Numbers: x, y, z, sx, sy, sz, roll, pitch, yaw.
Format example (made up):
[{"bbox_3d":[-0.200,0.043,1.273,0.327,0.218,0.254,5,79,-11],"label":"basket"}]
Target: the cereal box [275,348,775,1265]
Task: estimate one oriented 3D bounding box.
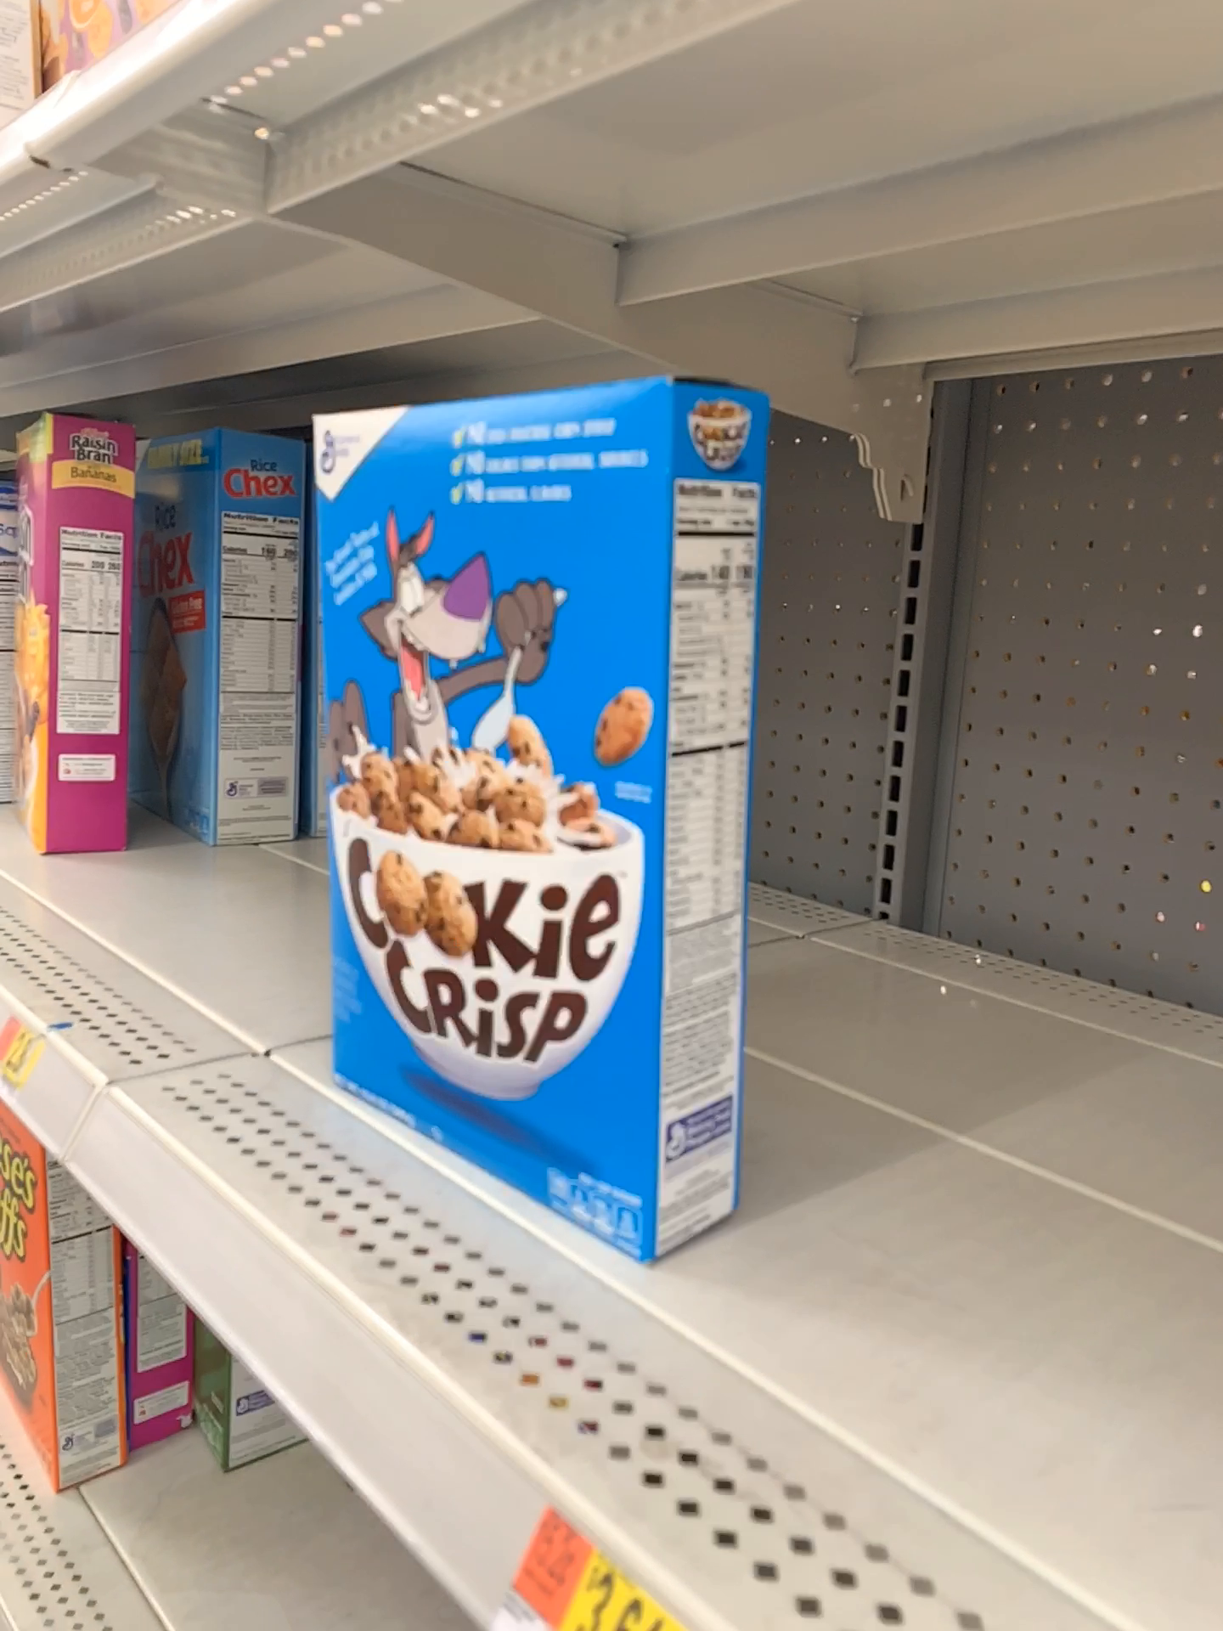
[{"bbox_3d":[-0.044,-0.013,0.462,0.050,0.279,0.210,-10,16,-43],"label":"cereal box"}]
